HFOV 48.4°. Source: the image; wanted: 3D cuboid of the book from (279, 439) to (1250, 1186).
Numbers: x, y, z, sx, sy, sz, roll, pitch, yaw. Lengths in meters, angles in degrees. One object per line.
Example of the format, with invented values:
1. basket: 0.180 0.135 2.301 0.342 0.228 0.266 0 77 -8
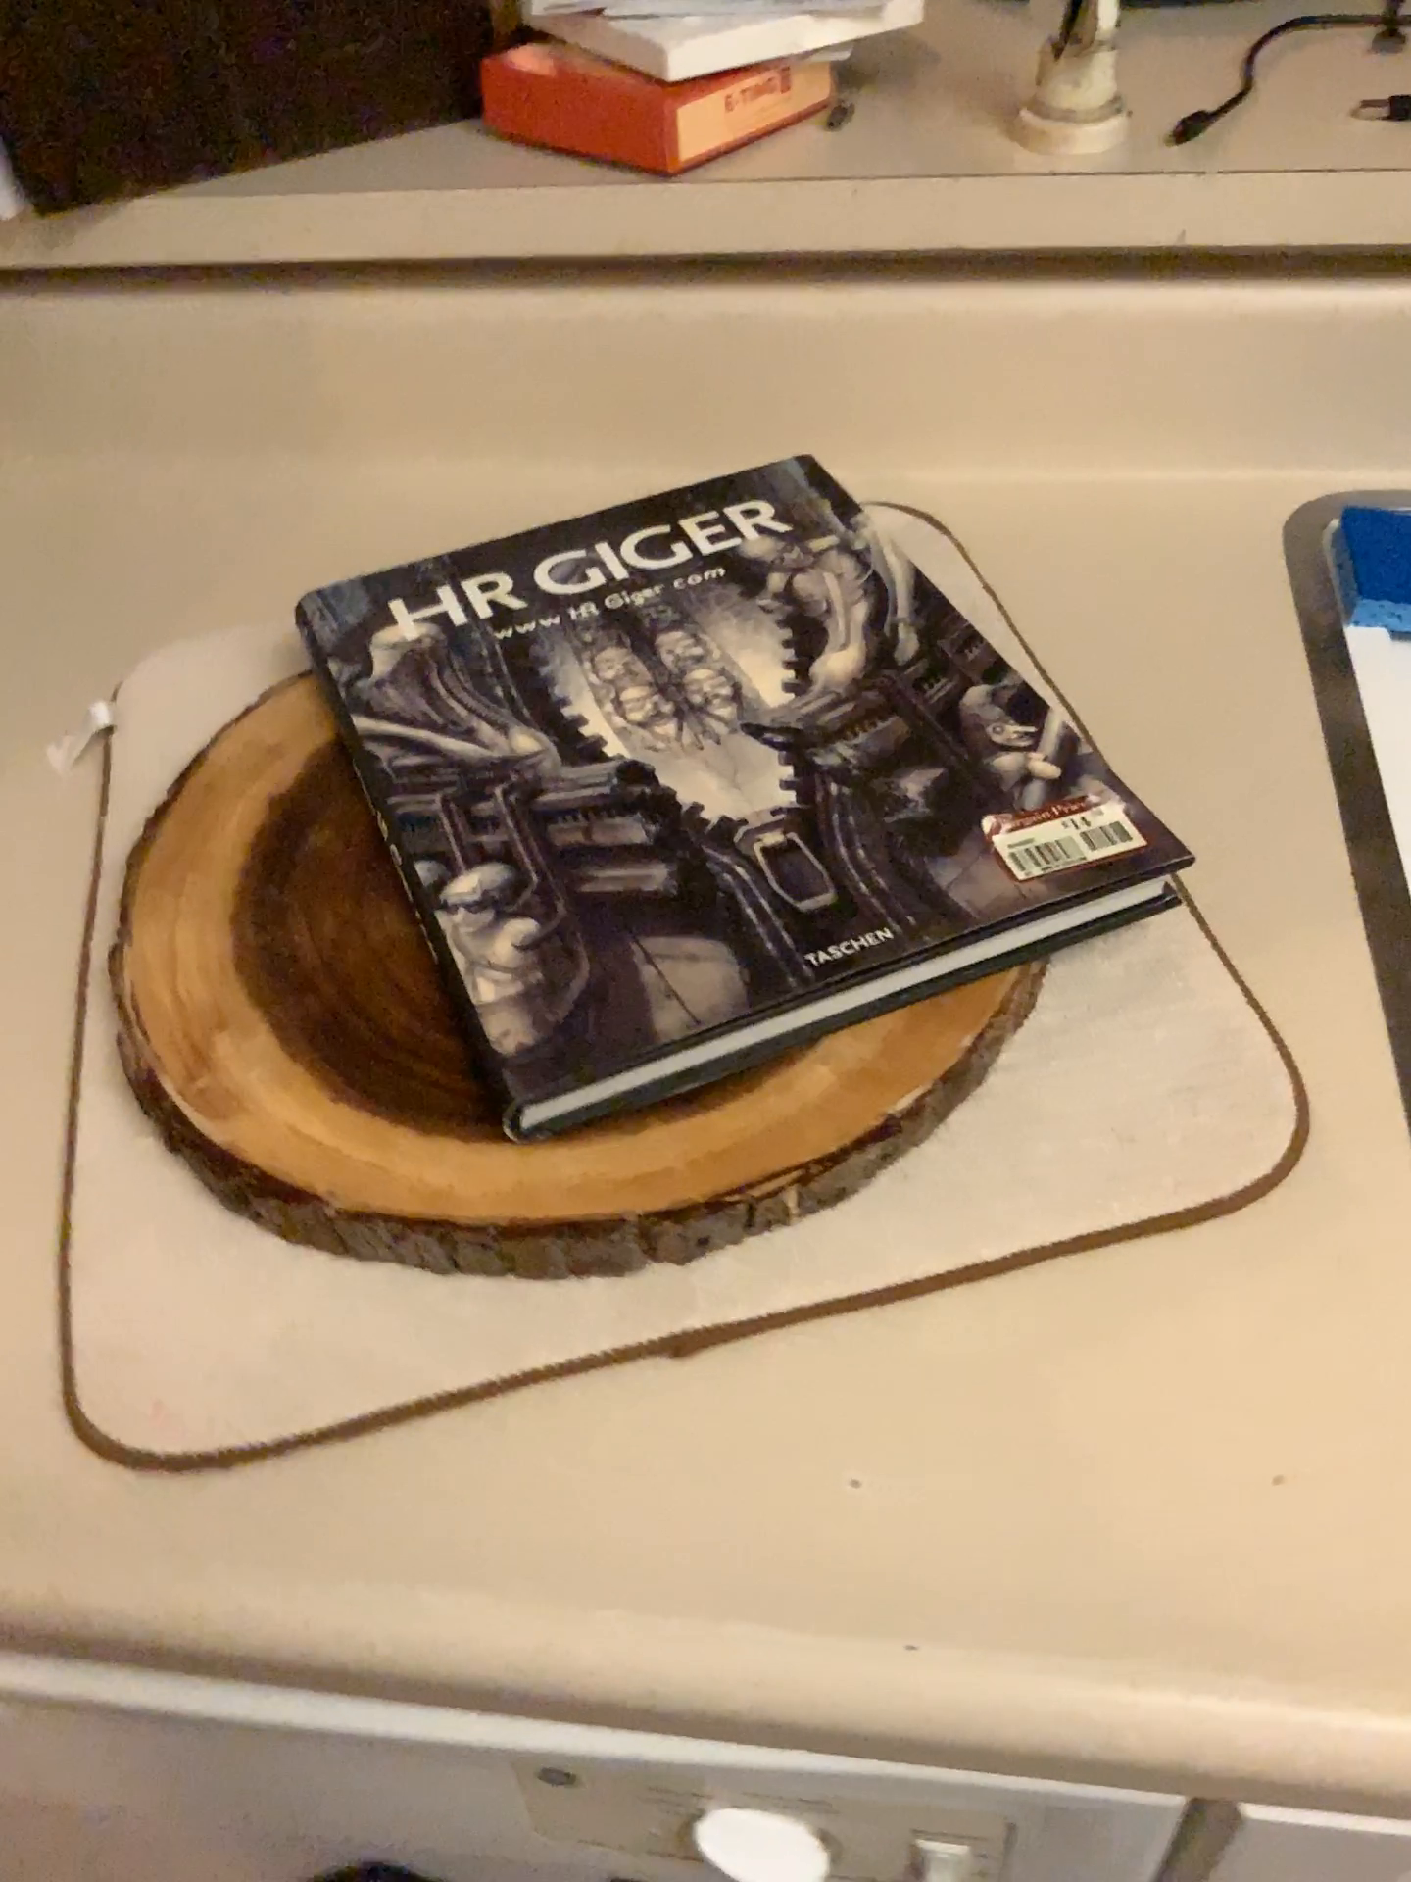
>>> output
1. book: 0.000 -0.082 0.629 0.270 0.030 0.330 -19 47 -13
